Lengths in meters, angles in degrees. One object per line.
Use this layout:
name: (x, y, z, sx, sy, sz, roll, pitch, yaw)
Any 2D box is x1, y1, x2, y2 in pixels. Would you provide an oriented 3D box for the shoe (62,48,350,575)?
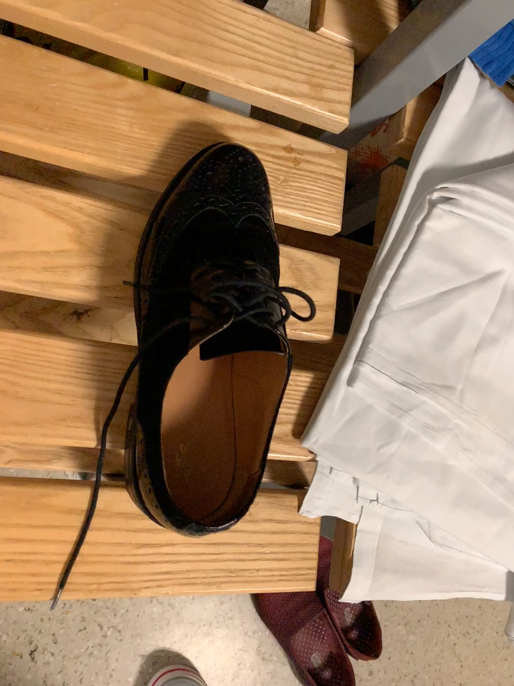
shoe: (-0.031, -0.014, 0.308, 0.099, 0.095, 0.250, 14, 79, -21)
